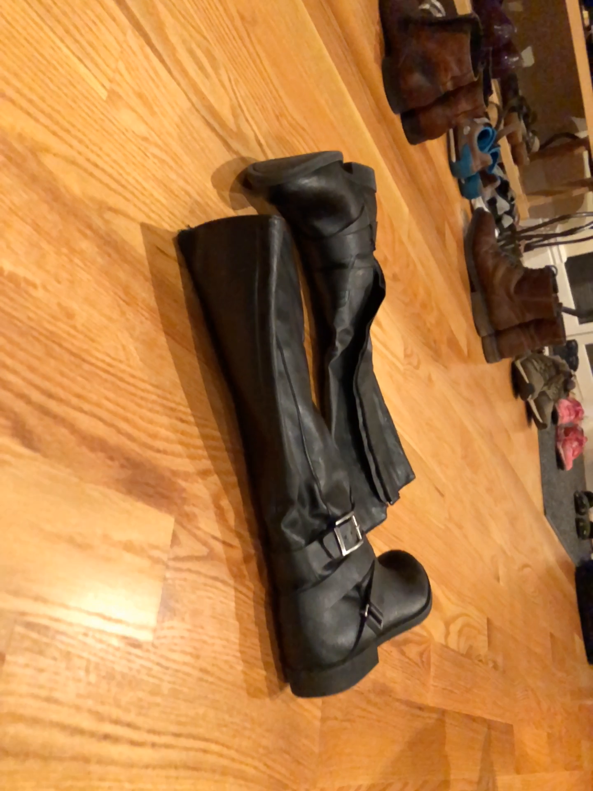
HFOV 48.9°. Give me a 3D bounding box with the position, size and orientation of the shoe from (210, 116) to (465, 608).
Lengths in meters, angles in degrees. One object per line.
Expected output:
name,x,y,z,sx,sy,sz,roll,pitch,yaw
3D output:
shoe,0.059,-0.031,0.646,0.251,0.094,0.393,-12,92,-63

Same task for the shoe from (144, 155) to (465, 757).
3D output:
shoe,0.036,0.034,0.581,0.292,0.104,0.403,-15,96,-63
